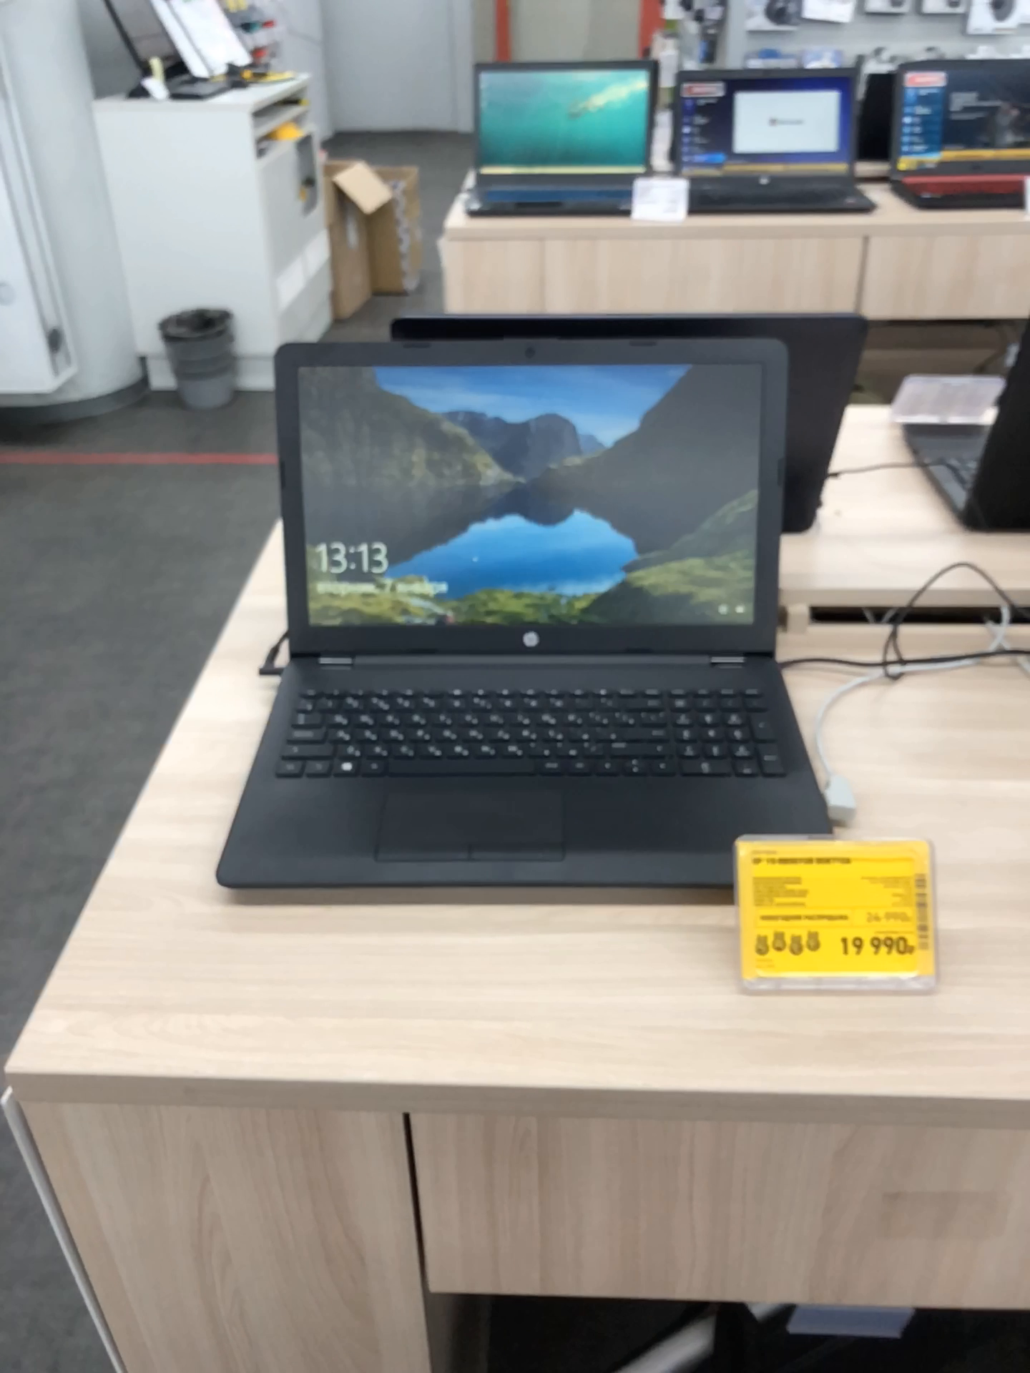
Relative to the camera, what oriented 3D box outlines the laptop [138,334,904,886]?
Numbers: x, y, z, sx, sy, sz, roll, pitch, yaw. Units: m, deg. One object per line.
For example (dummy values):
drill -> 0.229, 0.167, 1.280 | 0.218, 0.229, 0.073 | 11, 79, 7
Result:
laptop -> 0.008, -0.072, 0.761 | 0.376, 0.217, 0.343 | 0, 33, 2
